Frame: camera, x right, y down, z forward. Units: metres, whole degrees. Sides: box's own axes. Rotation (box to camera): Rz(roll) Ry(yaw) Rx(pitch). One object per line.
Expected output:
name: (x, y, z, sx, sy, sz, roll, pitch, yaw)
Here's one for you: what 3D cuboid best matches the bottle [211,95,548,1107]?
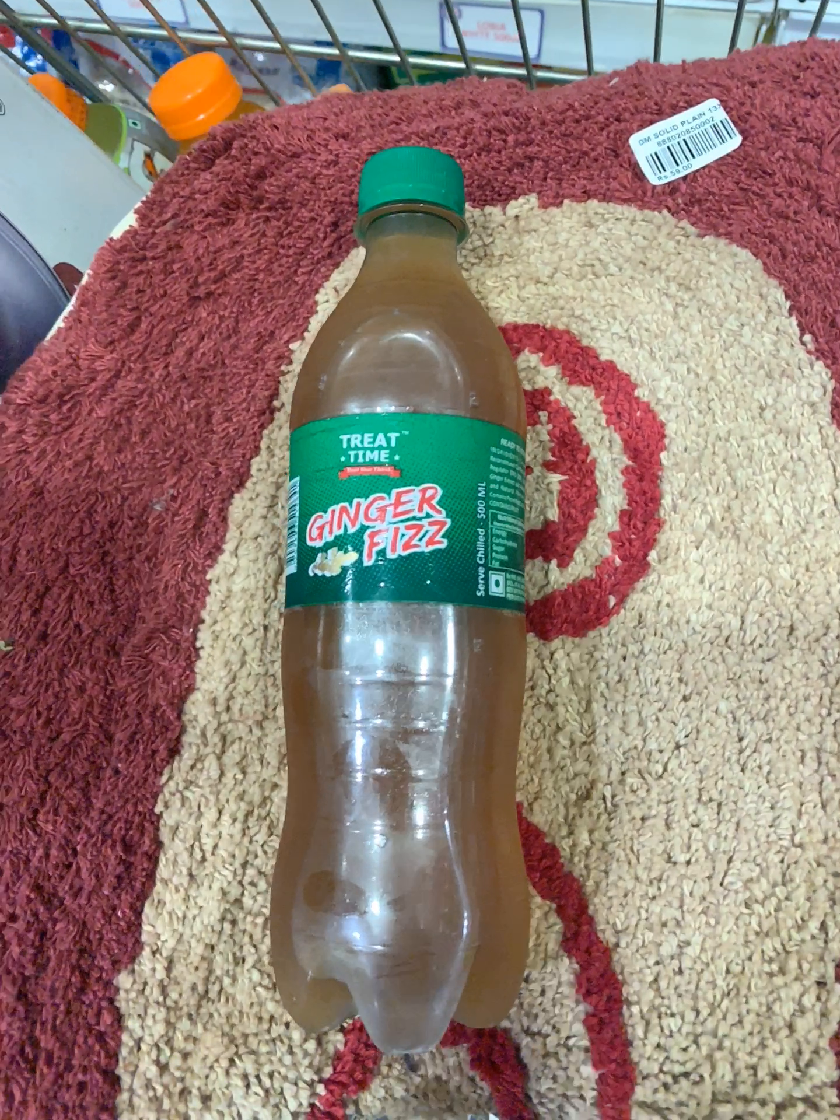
bottle: (-0.004, 0.006, 0.228, 0.070, 0.070, 0.220, 1, 85, 7)
